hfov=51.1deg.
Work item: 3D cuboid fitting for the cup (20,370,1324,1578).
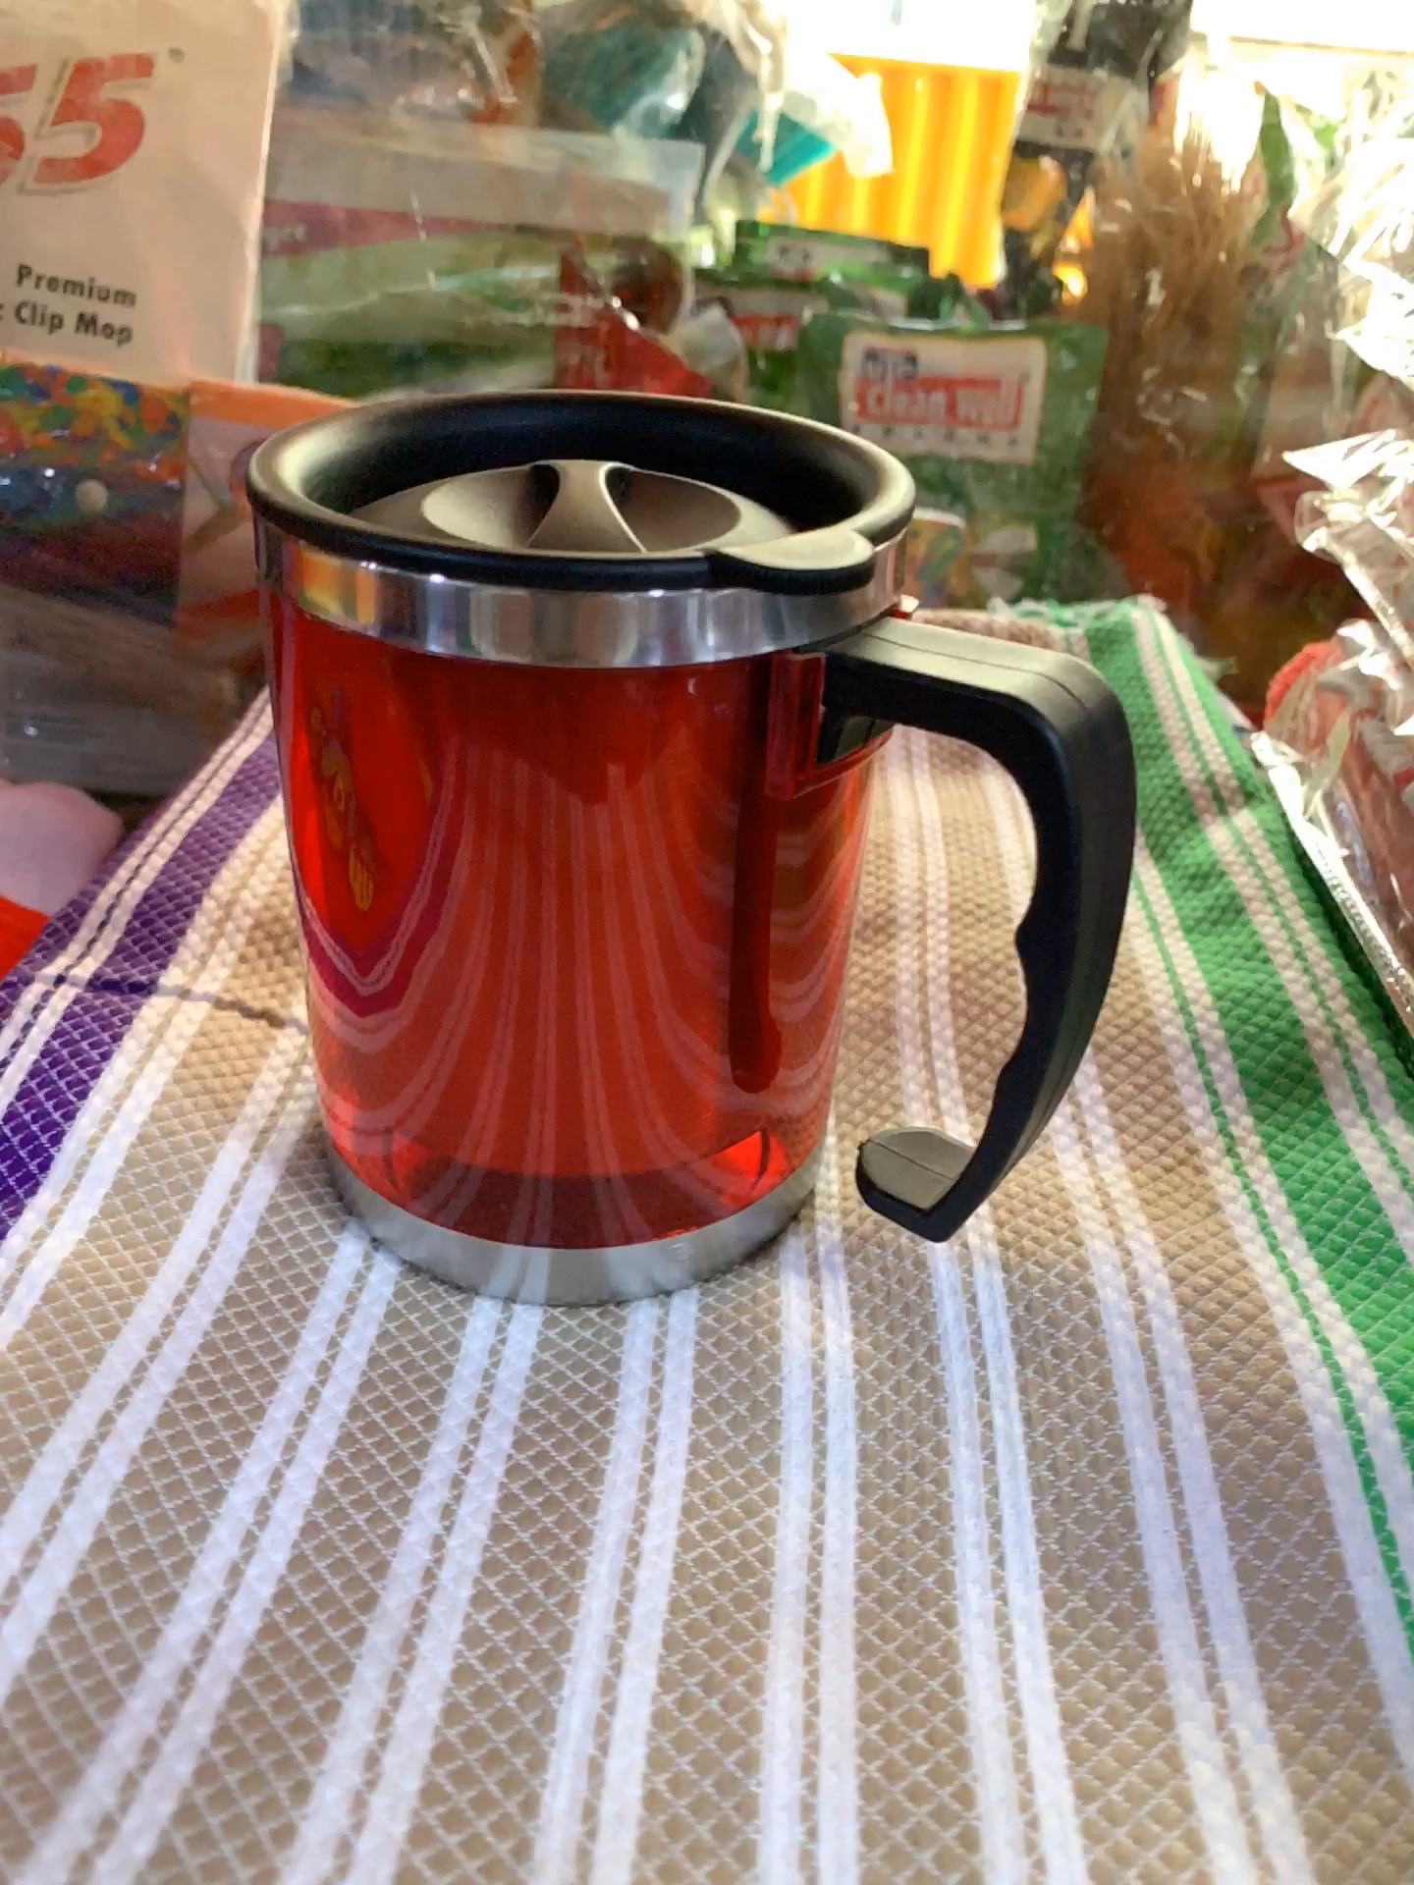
[{"bbox_3d":[-0.003,-0.012,0.210,0.130,0.102,0.100,20,34,26],"label":"cup"}]
